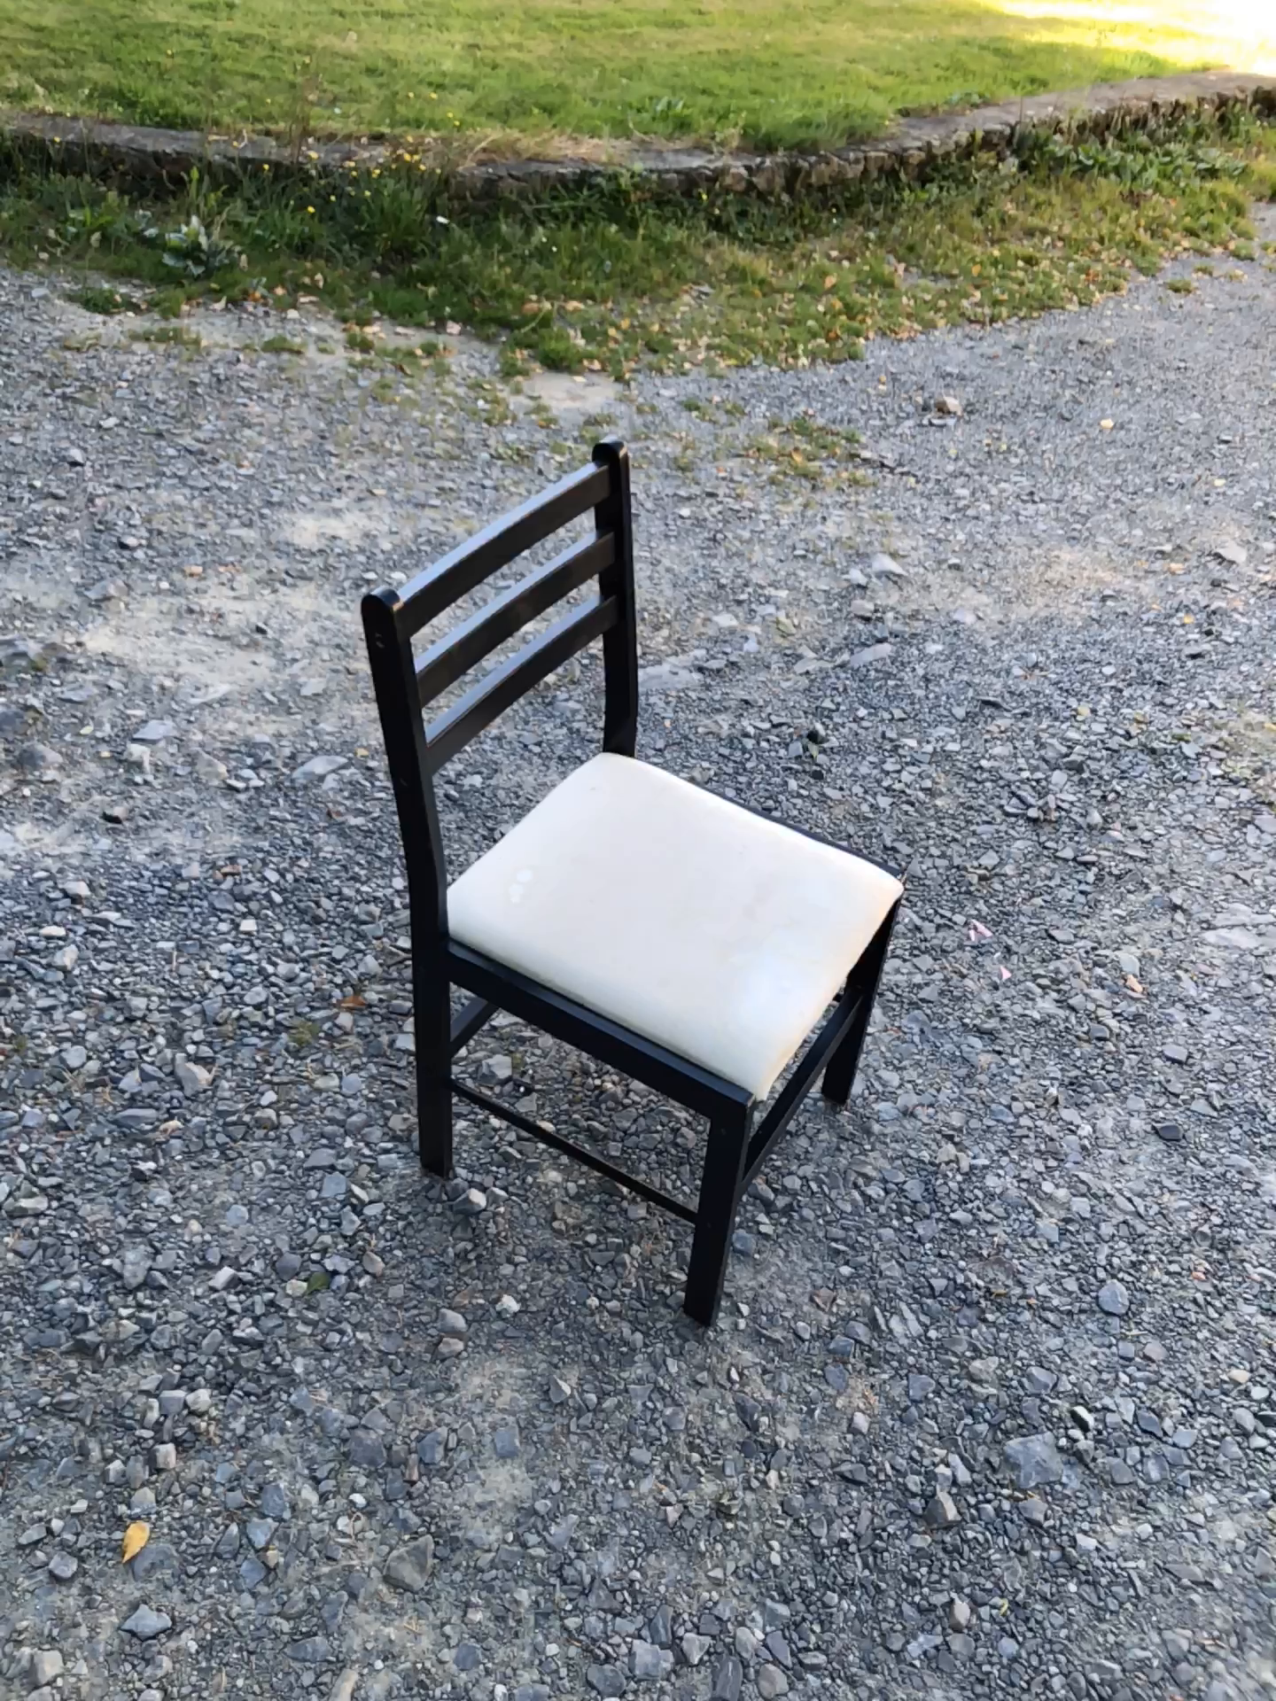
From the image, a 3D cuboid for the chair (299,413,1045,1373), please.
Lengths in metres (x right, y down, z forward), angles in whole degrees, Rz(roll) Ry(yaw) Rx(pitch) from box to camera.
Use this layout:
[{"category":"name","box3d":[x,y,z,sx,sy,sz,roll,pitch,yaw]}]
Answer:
[{"category":"chair","box3d":[0.018,0.041,1.569,0.530,0.775,0.544,23,42,16]}]
